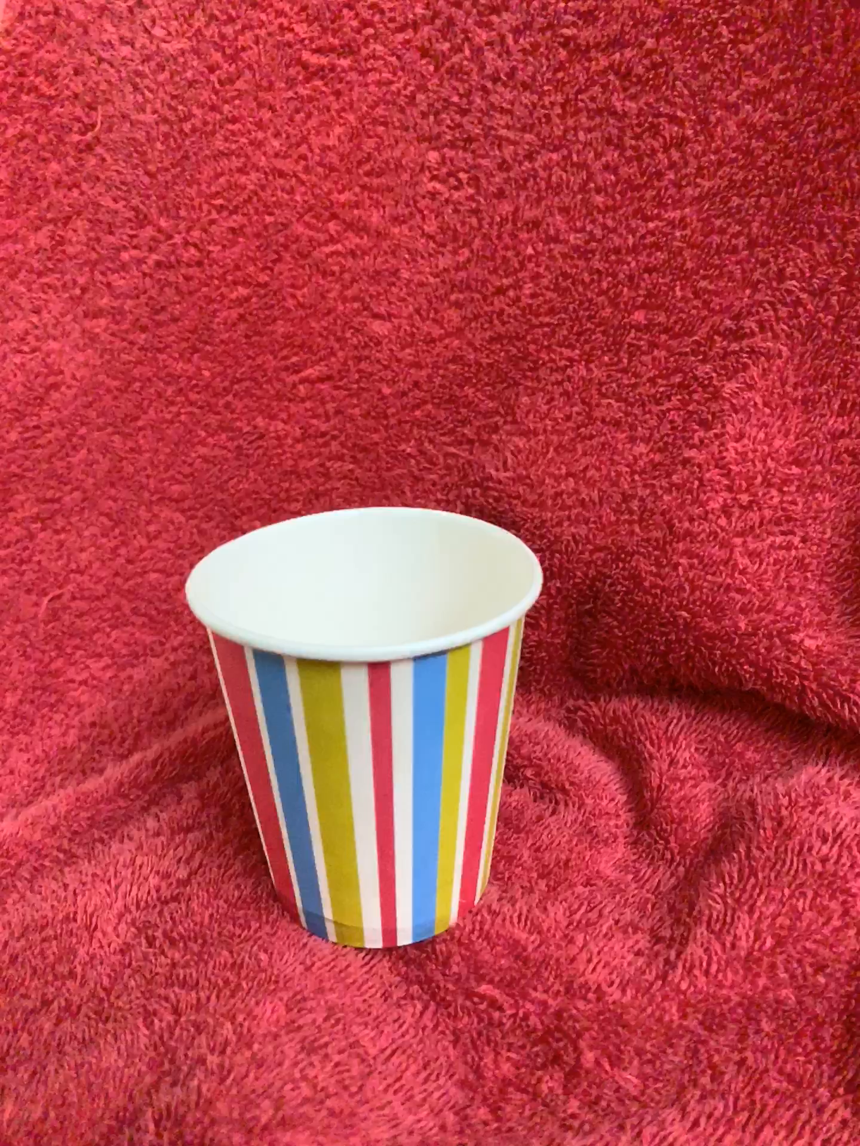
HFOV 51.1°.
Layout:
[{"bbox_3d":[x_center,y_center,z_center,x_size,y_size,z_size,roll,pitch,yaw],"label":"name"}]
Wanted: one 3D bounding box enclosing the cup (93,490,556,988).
[{"bbox_3d":[-0.014,0.028,0.181,0.070,0.070,0.070,-1,23,1],"label":"cup"}]
